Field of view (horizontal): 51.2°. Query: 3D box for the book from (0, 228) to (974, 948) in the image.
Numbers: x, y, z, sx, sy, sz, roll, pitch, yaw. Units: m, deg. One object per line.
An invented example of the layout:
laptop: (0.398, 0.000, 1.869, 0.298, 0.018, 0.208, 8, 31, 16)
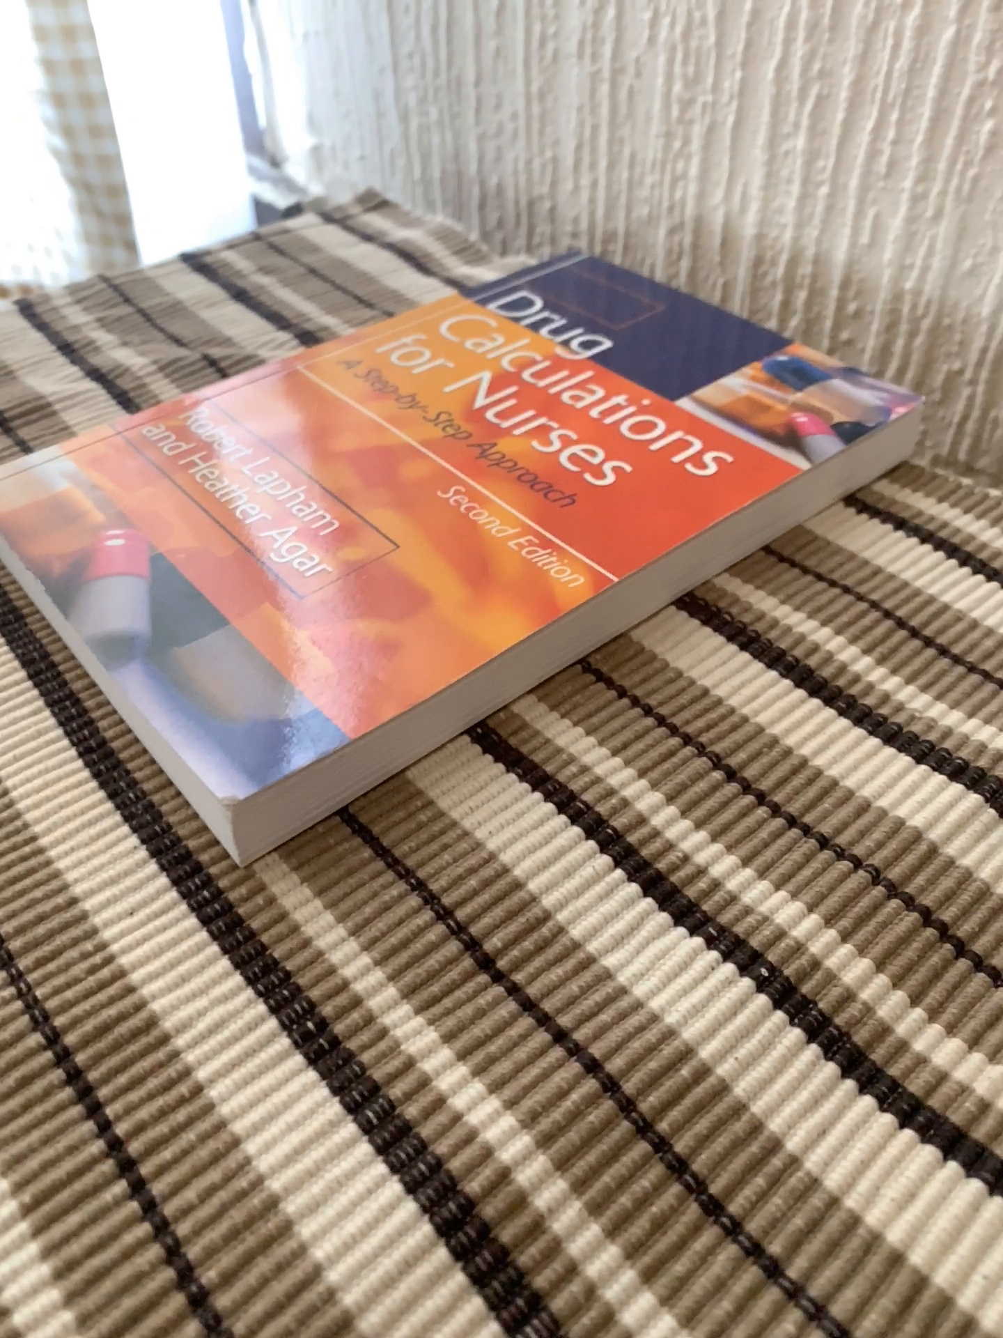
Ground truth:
book: (-0.011, -0.049, 0.257, 0.221, 0.020, 0.141, -31, 51, -27)
